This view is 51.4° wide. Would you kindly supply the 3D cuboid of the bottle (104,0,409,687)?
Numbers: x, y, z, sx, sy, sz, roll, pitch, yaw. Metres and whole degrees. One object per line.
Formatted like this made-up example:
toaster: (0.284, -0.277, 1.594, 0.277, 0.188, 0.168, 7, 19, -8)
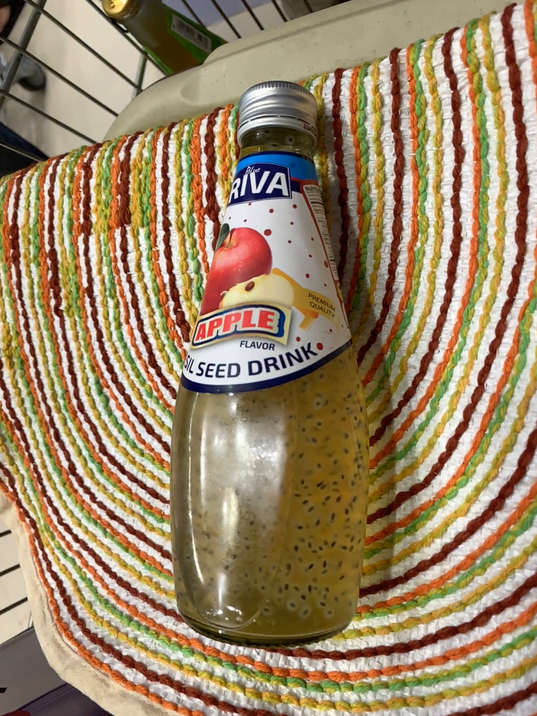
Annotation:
bottle: (0.001, -0.016, 0.185, 0.070, 0.050, 0.200, -1, 80, 31)
